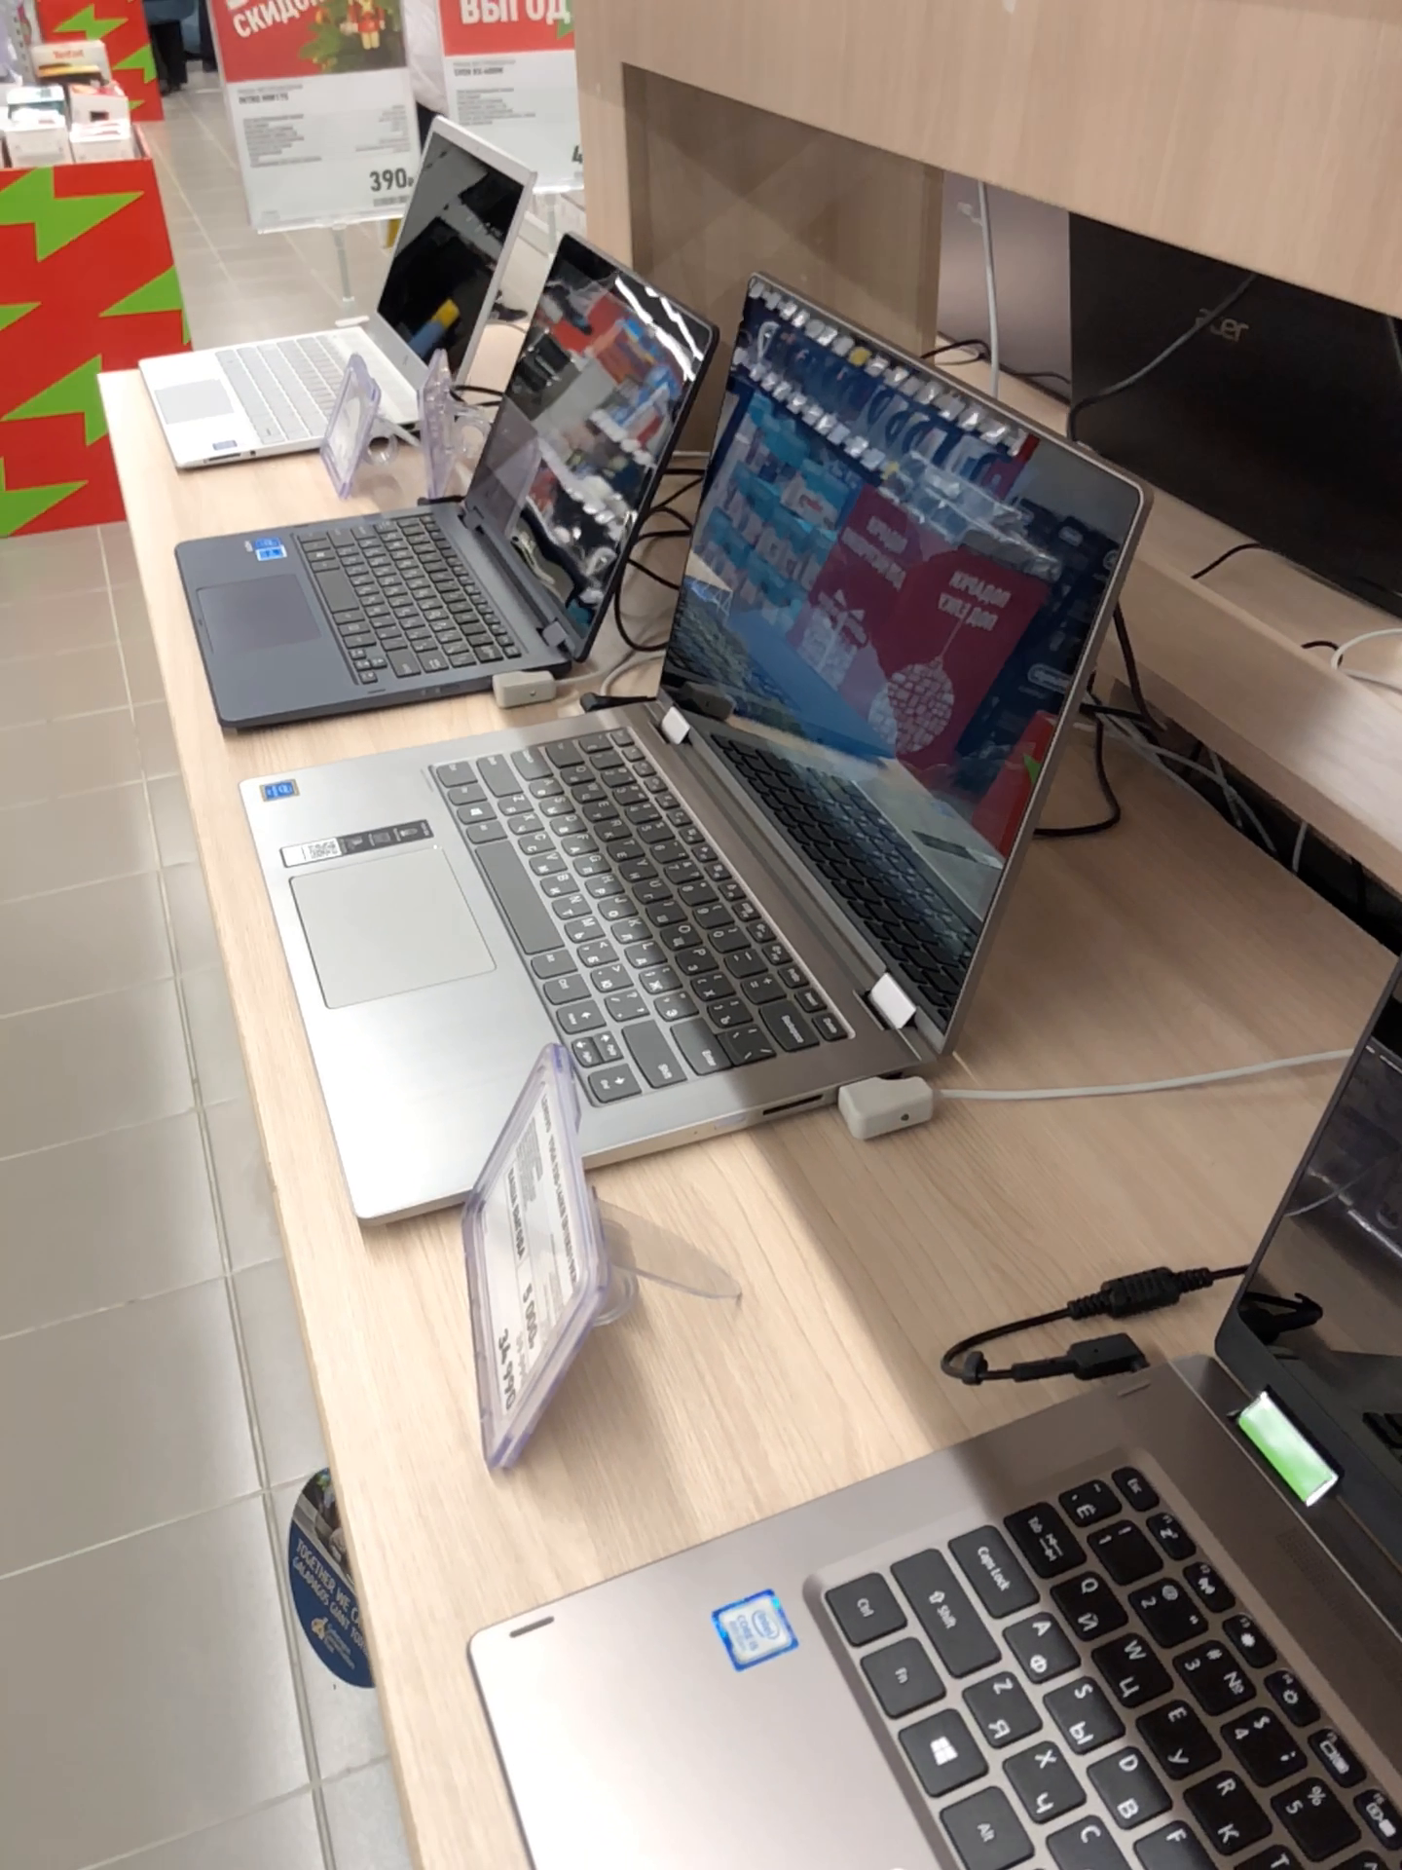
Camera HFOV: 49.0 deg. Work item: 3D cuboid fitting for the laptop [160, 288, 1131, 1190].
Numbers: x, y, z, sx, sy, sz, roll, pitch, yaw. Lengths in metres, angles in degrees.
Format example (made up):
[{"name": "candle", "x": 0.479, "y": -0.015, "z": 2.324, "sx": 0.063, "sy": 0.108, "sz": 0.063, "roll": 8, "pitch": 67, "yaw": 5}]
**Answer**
[{"name": "laptop", "x": -0.044, "y": -0.113, "z": 0.643, "sx": 0.287, "sy": 0.205, "sz": 0.313, "roll": -14, "pitch": 36, "yaw": -17}]
